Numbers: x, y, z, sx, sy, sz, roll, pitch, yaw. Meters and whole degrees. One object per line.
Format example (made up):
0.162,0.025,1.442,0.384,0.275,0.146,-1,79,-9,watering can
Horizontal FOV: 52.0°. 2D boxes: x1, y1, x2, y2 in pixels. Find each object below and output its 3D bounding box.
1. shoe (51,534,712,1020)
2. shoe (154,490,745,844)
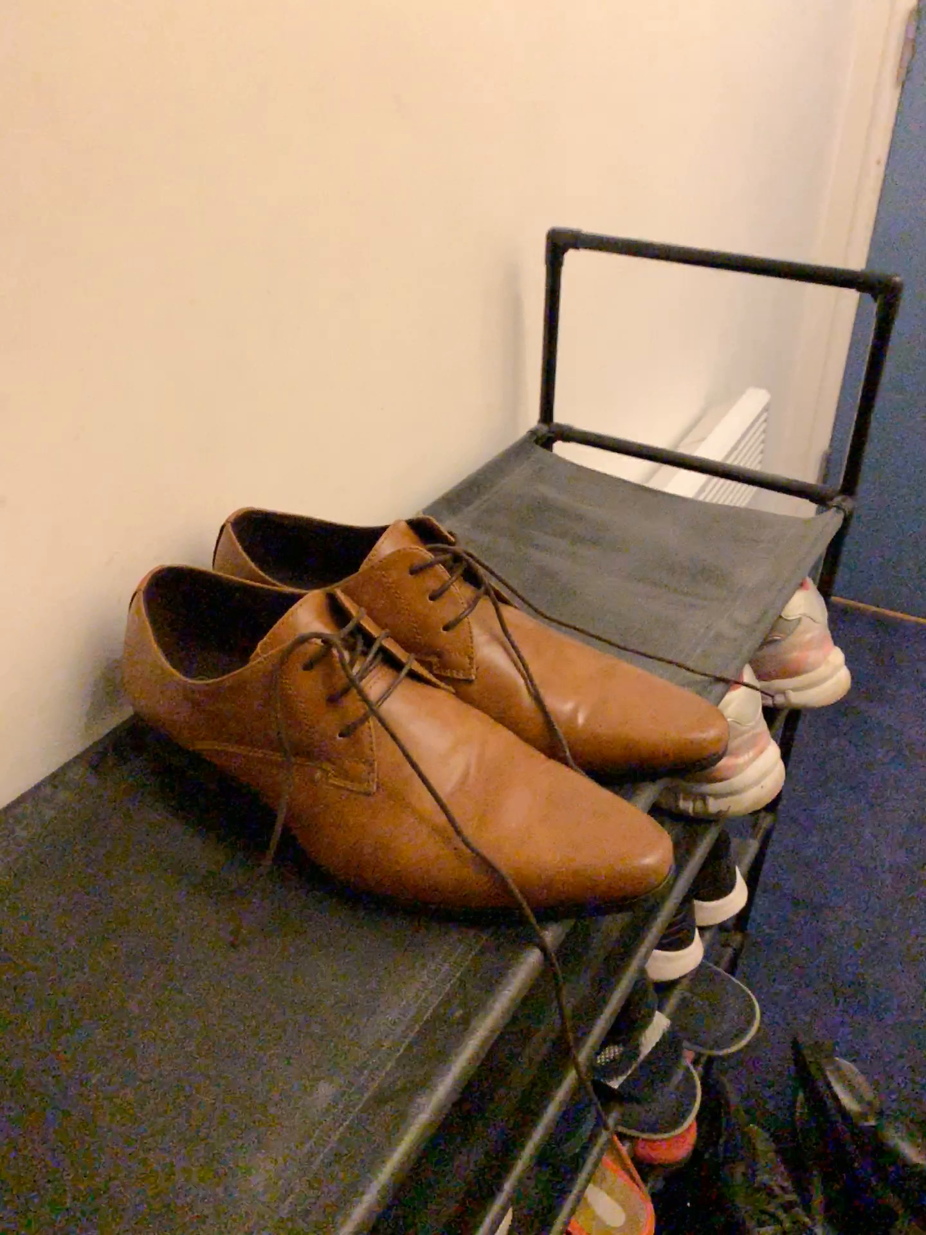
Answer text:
-0.046,0.059,0.464,0.301,0.099,0.101,17,38,26,shoe
-0.009,0.016,0.533,0.300,0.099,0.101,11,36,19,shoe
